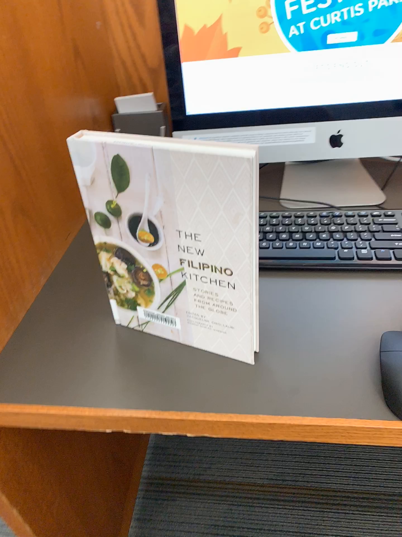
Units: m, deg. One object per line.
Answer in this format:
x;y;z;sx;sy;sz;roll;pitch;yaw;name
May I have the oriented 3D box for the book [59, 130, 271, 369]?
-0.028;-0.015;0.417;0.193;0.229;0.030;12;39;24;book
